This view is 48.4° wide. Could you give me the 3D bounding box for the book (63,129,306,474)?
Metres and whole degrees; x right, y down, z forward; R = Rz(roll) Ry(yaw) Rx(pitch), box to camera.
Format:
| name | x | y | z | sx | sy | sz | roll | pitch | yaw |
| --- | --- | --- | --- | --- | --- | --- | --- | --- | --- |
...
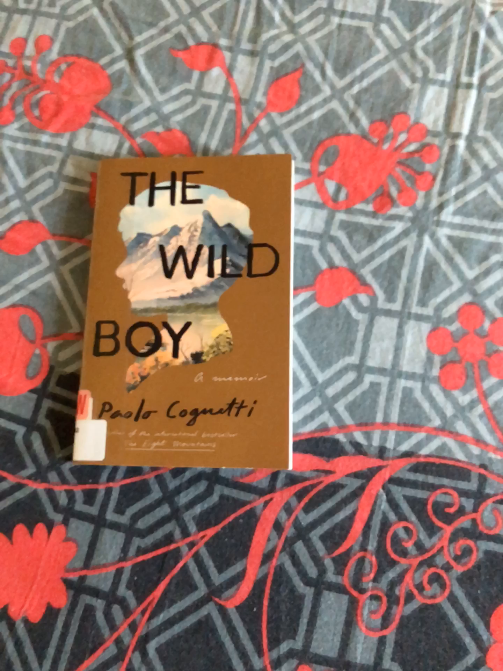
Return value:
| name | x | y | z | sx | sy | sz | roll | pitch | yaw |
| --- | --- | --- | --- | --- | --- | --- | --- | --- | --- |
| book | -0.039 | -0.026 | 0.382 | 0.150 | 0.030 | 0.230 | 0 | 76 | 7 |
